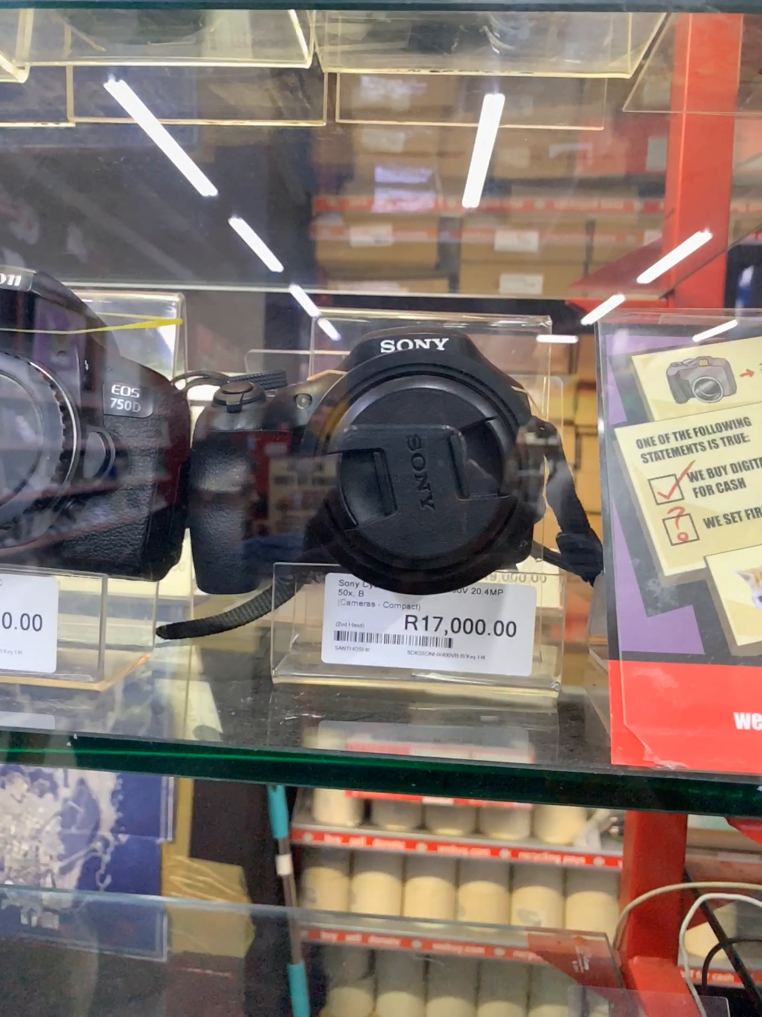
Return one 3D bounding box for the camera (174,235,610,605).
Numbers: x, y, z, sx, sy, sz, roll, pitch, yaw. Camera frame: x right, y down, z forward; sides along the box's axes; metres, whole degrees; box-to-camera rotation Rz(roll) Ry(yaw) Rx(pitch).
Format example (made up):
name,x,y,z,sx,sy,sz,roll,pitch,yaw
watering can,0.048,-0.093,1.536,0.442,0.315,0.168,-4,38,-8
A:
name,x,y,z,sx,sy,sz,roll,pitch,yaw
camera,0.002,-0.028,0.270,0.120,0.100,0.090,2,4,0
